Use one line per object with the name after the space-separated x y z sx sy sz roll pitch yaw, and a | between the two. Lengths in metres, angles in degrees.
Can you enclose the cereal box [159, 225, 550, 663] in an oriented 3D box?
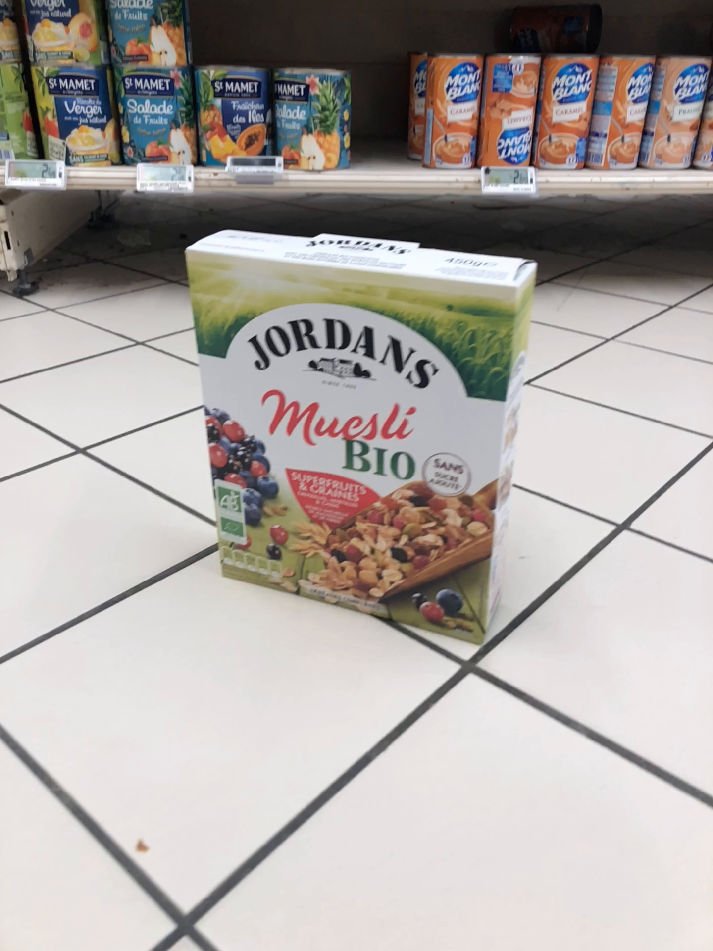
-0.002 -0.018 0.452 0.190 0.219 0.060 11 32 19 | cereal box
